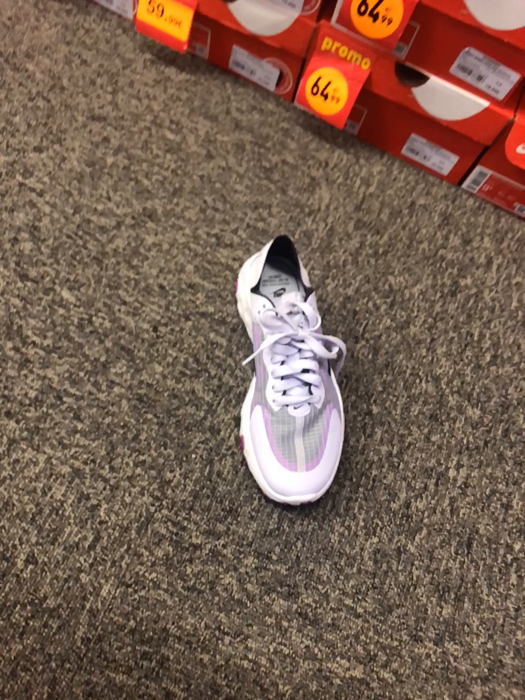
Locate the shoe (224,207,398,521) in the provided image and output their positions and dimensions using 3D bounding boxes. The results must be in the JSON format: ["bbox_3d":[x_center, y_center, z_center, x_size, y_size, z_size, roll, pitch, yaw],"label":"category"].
[{"bbox_3d":[0.032,0.010,0.525,0.100,0.100,0.261,-1,67,-13],"label":"shoe"}]
